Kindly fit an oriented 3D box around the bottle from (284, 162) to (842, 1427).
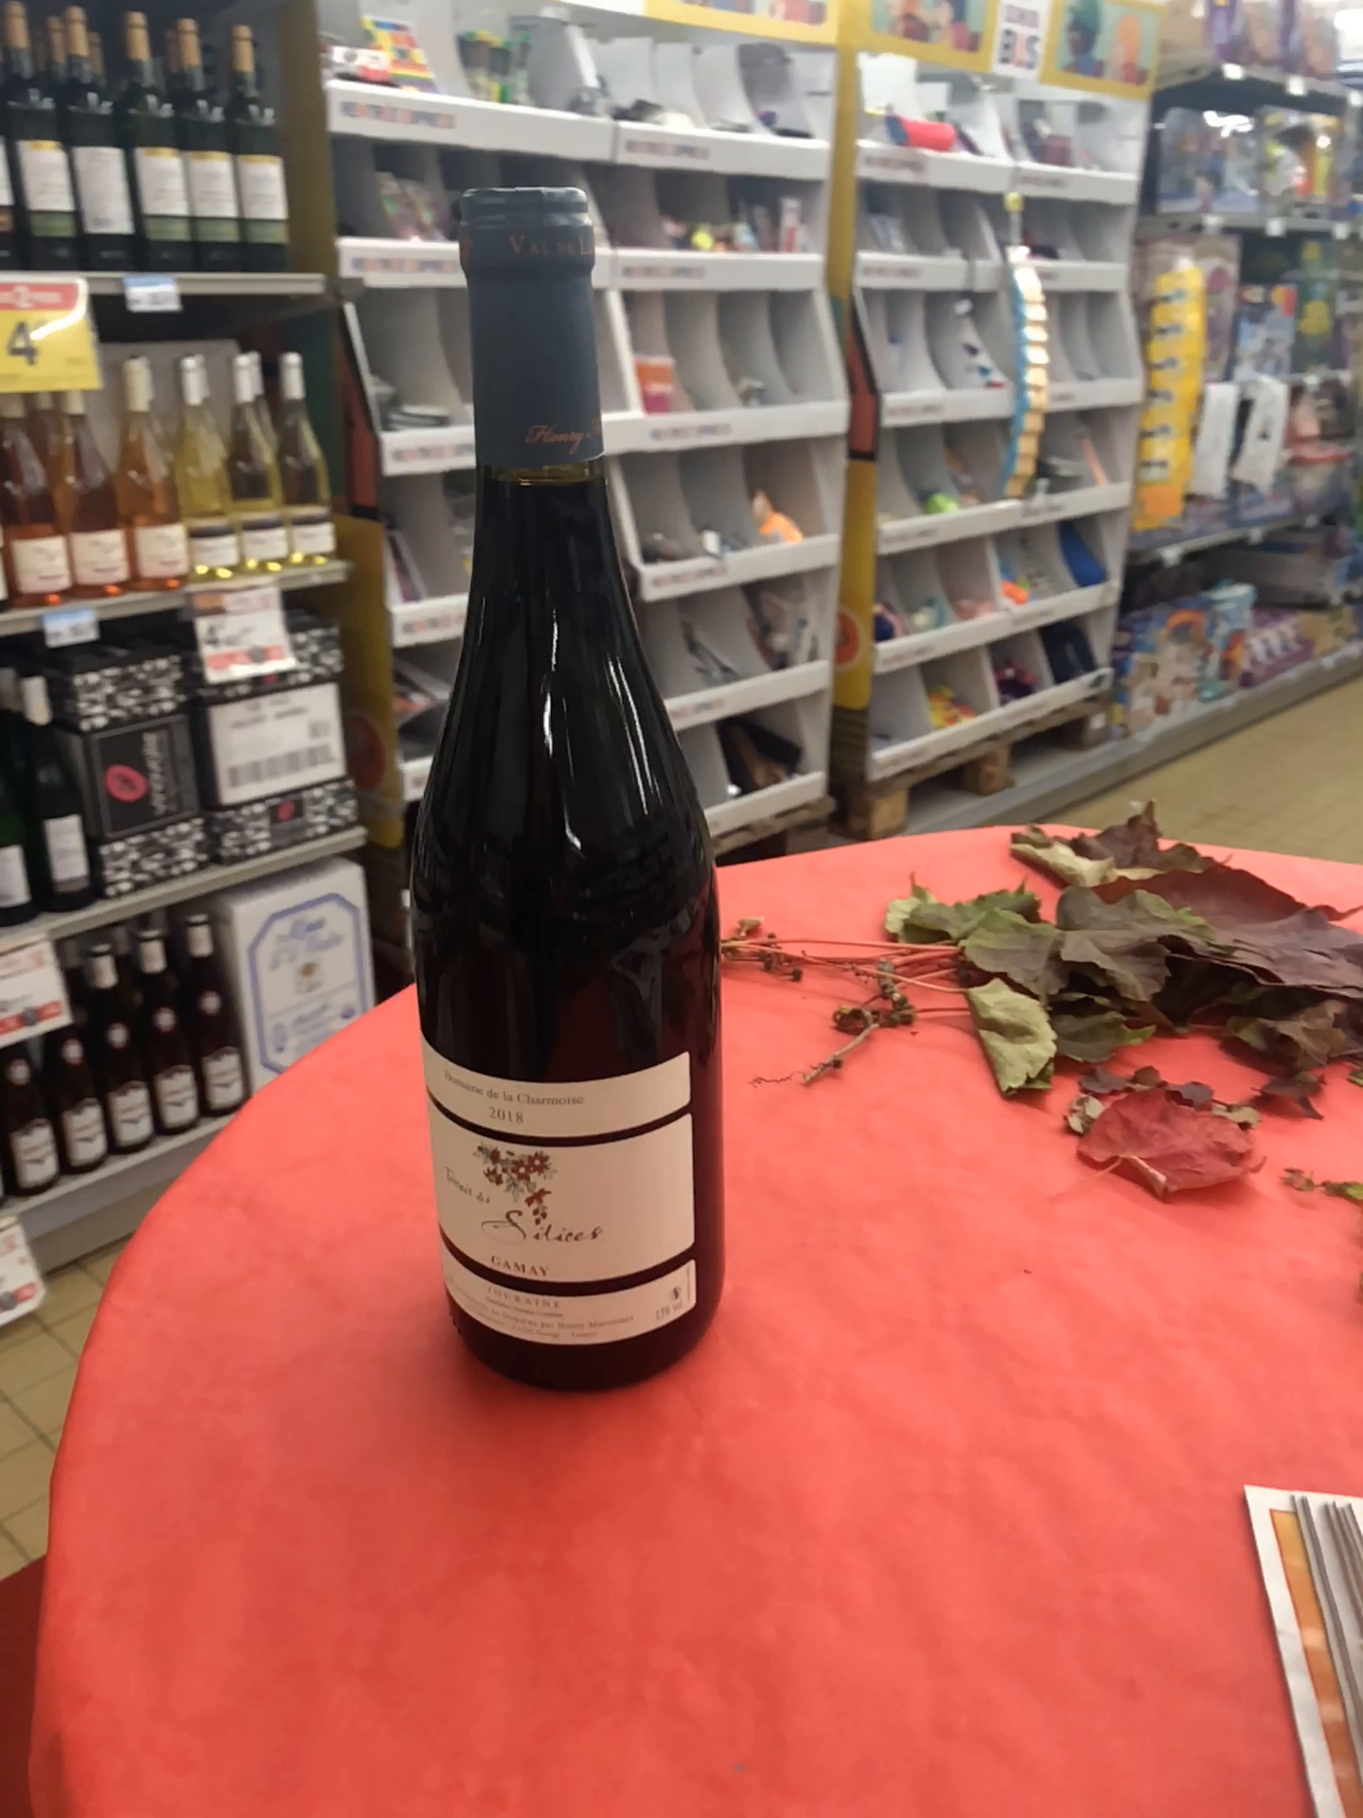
[{"bbox_3d":[-0.023,-0.025,0.382,0.090,0.288,0.091,0,22,0],"label":"bottle"}]
